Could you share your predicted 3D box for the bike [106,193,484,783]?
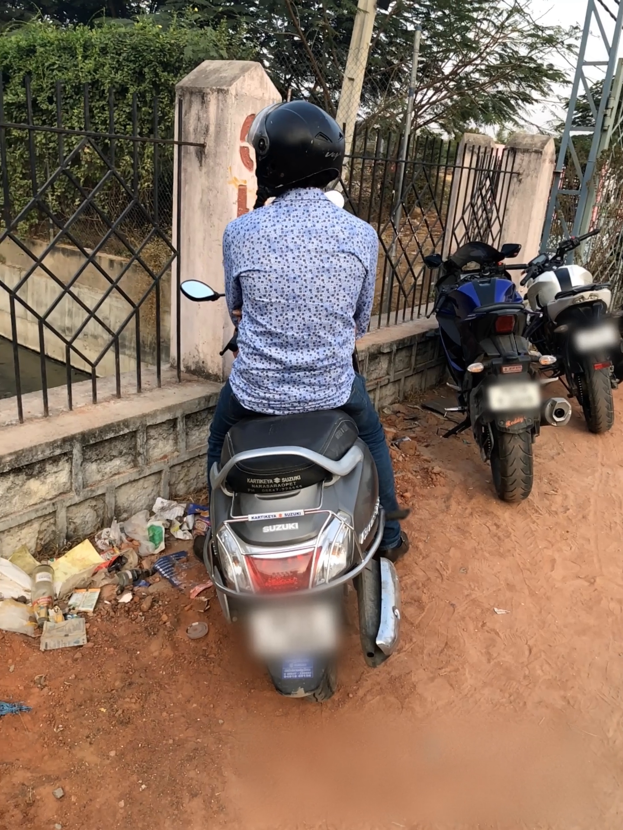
[{"bbox_3d":[-0.197,0.031,2.320,0.796,1.217,1.587,1,23,-11],"label":"bike"}]
